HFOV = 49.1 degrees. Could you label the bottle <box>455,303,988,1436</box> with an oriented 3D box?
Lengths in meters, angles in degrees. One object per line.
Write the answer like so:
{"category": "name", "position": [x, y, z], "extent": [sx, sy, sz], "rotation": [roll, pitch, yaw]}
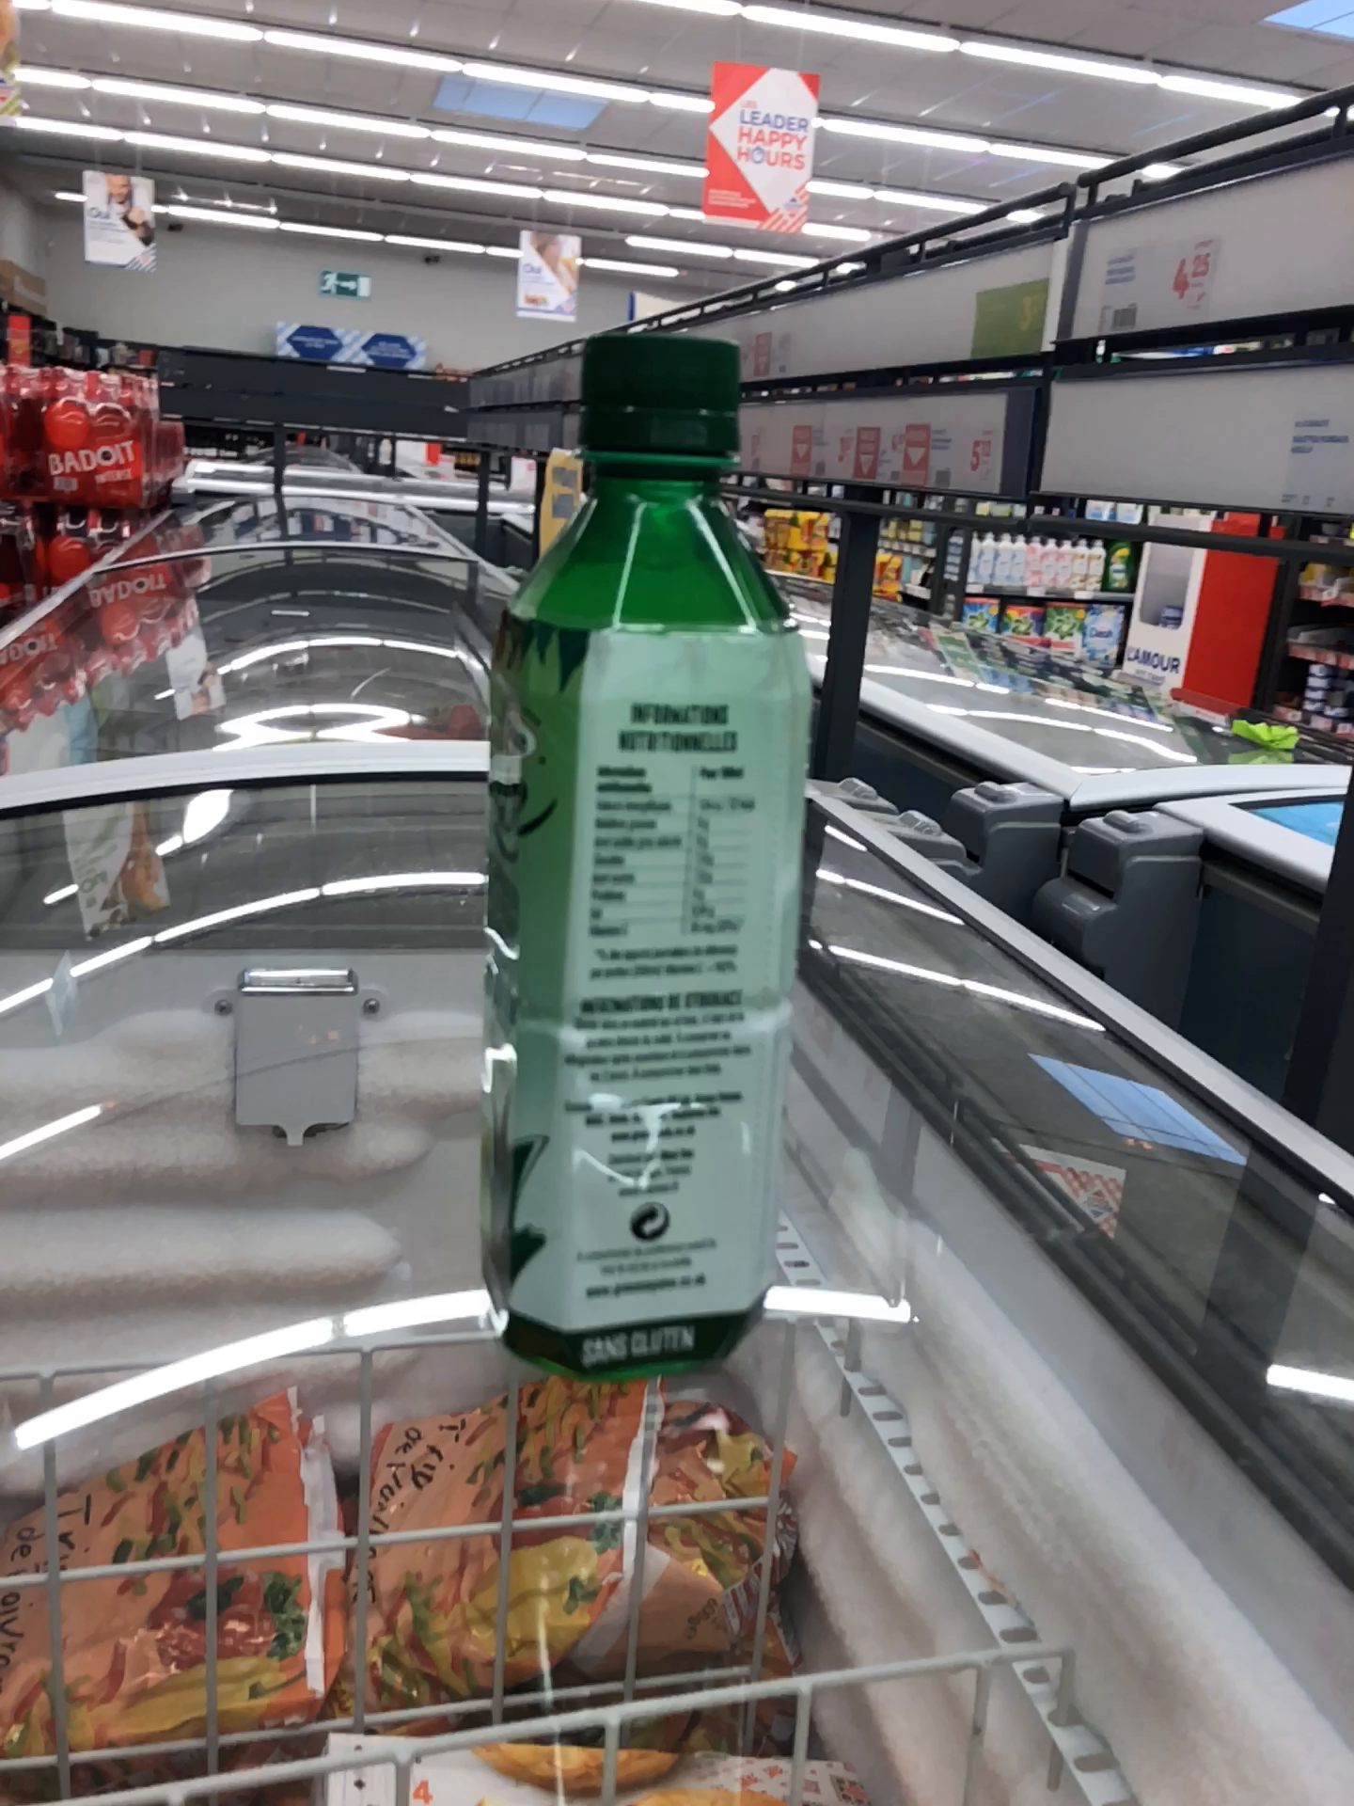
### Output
{"category": "bottle", "position": [0.000, -0.006, 0.295], "extent": [0.070, 0.199, 0.070], "rotation": [5, 15, -1]}
